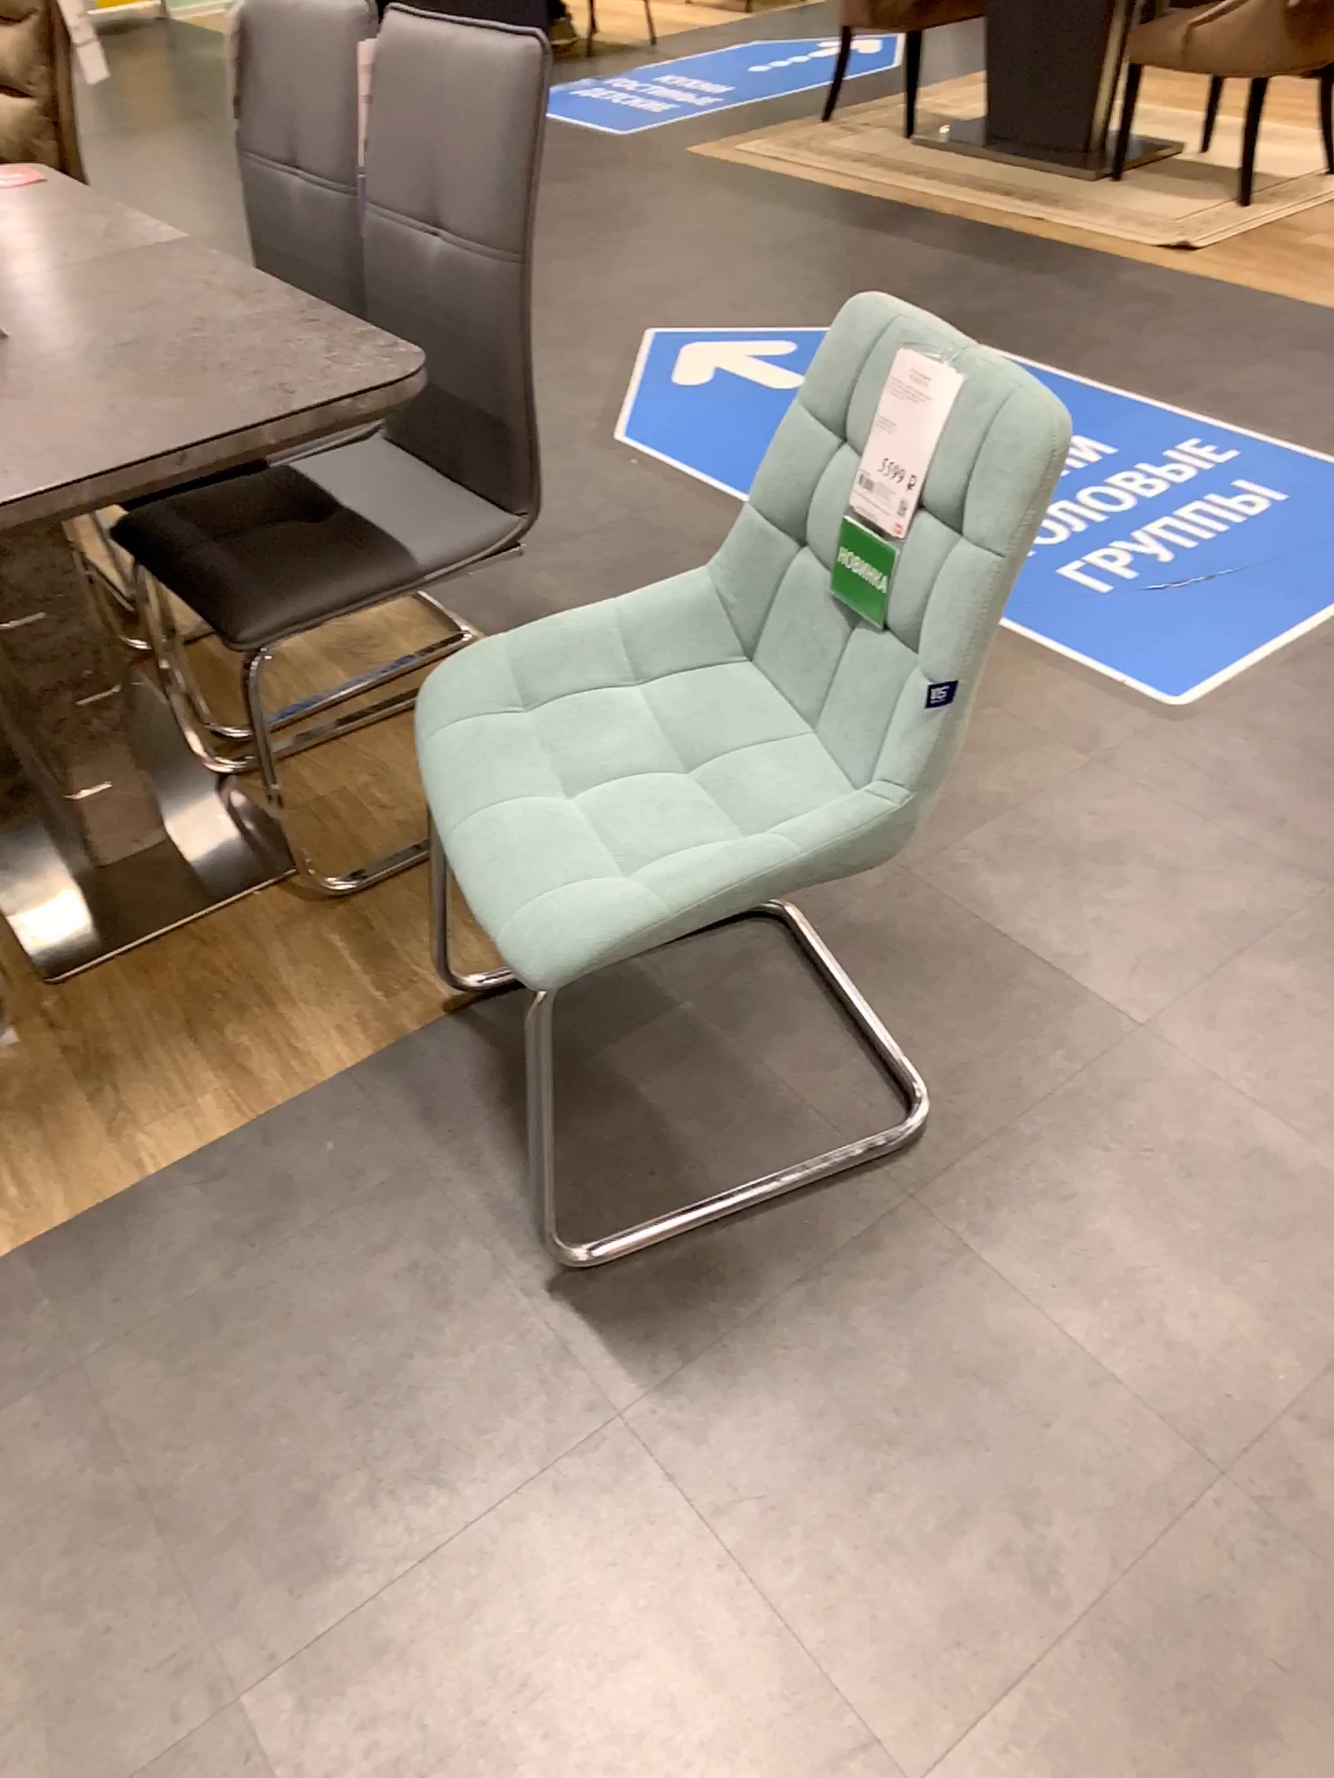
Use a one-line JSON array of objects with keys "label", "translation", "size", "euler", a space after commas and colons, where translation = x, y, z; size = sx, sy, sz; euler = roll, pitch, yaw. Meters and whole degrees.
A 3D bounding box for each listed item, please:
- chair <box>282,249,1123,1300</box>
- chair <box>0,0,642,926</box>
[{"label": "chair", "translation": [0.020, -0.113, 1.413], "size": [0.550, 0.825, 0.513], "euler": [-17, 42, -14]}, {"label": "chair", "translation": [-0.448, -0.576, 1.875], "size": [0.571, 1.004, 0.512], "euler": [-26, 45, -23]}]
